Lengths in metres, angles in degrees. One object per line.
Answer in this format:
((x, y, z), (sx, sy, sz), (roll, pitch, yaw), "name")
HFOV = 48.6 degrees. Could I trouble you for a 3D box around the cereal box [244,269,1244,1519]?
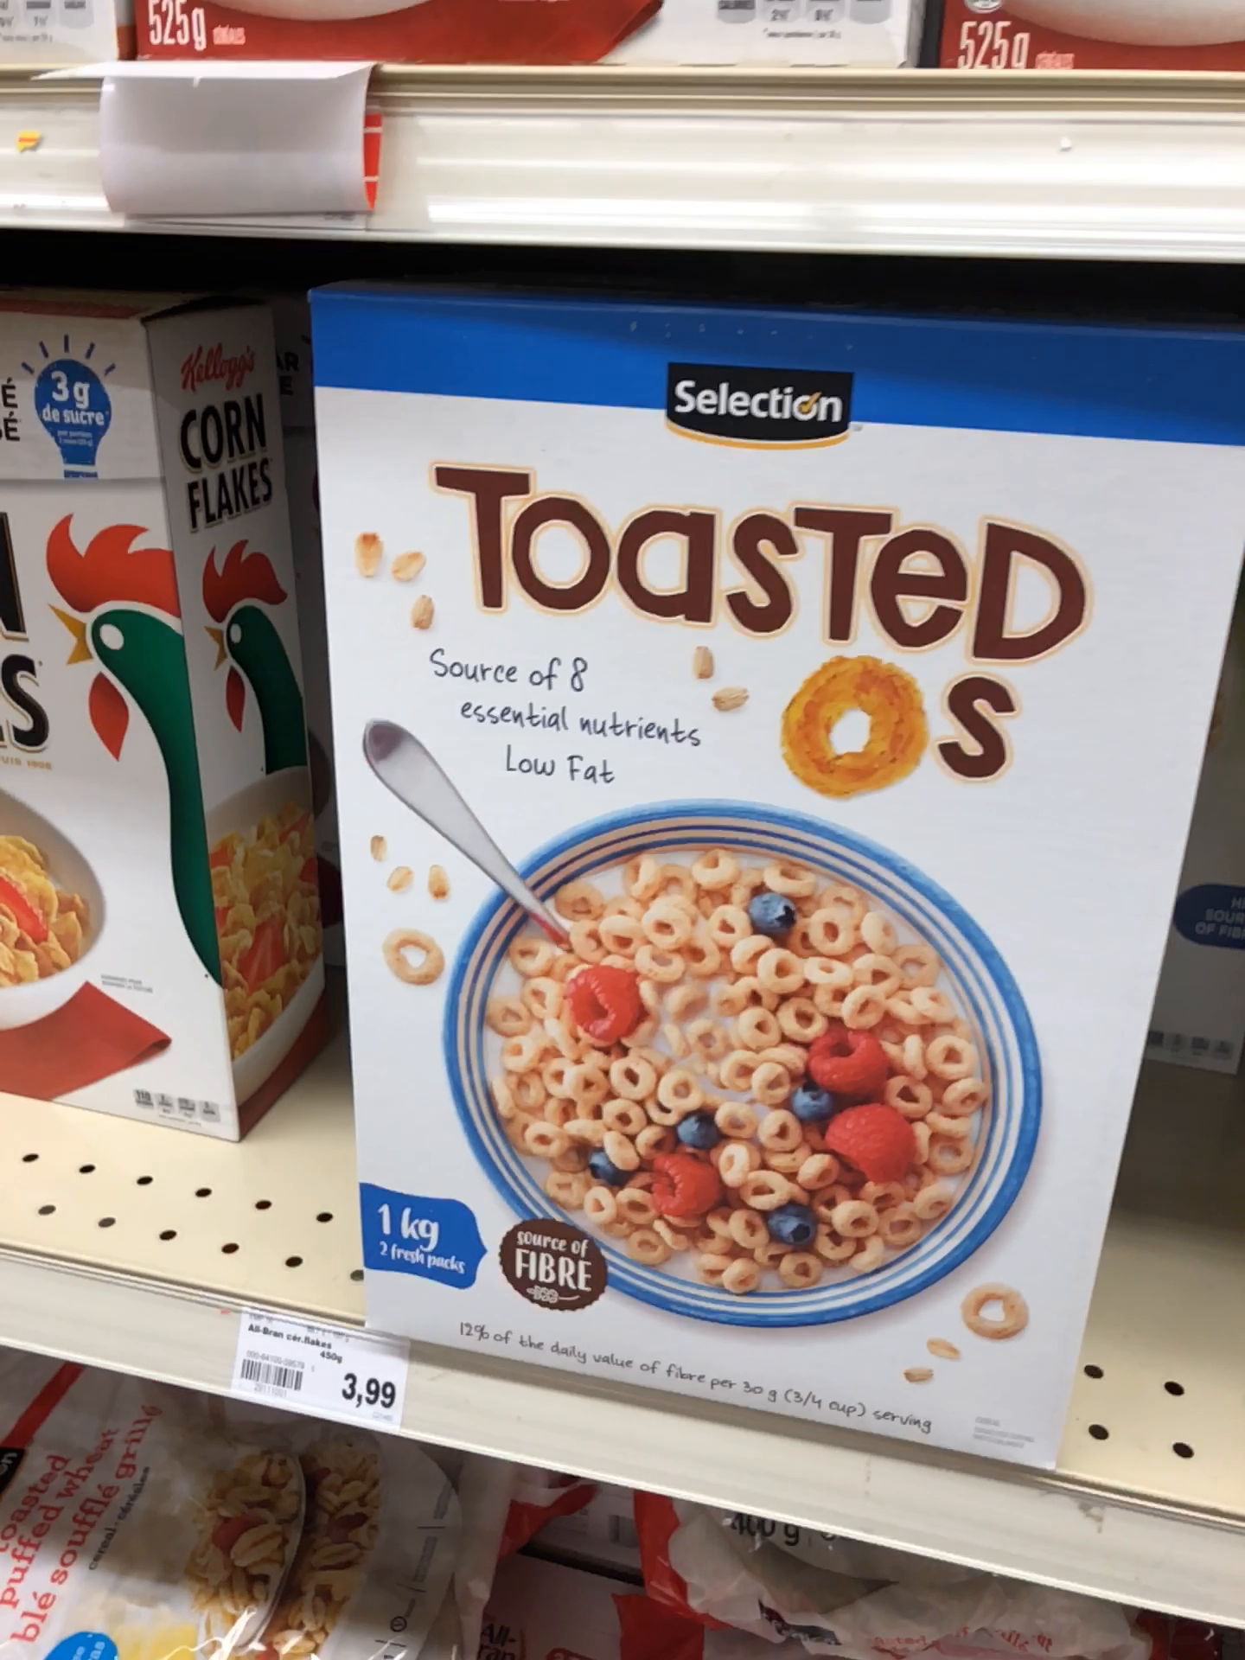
((0.038, 0.005, 0.445), (0.240, 0.338, 0.161), (7, 22, 11), "cereal box")
